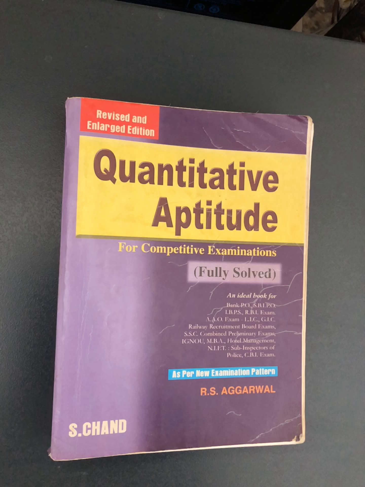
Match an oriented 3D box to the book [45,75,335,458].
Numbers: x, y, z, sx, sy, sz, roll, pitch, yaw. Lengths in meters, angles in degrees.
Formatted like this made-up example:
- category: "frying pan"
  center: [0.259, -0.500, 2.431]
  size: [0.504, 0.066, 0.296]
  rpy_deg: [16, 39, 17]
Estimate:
- category: "book"
  center: [0.009, 0.015, 0.278]
  size: [0.180, 0.050, 0.220]
  rpy_deg: [3, 86, -13]
